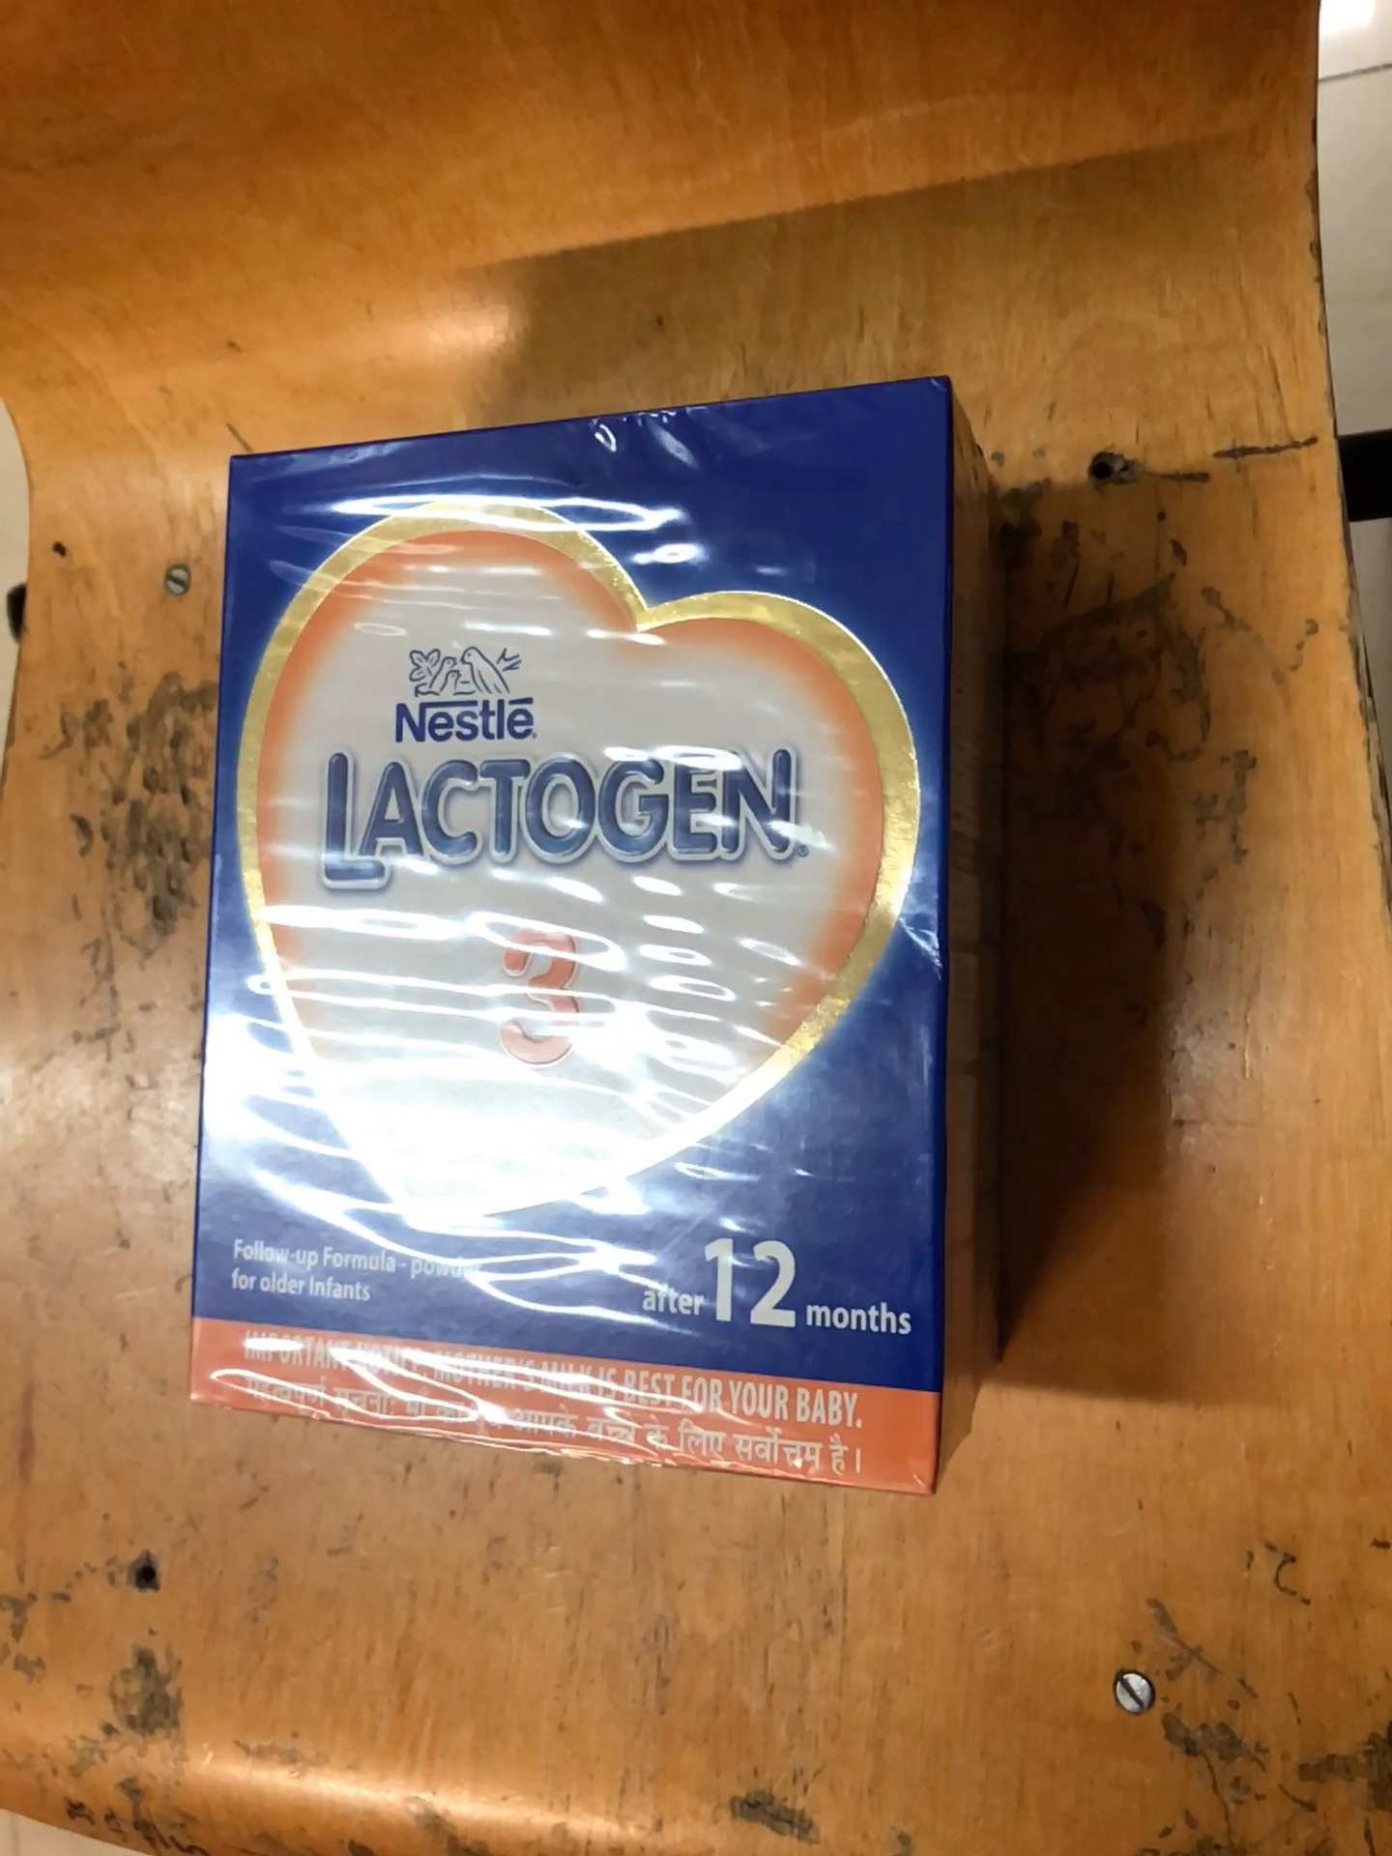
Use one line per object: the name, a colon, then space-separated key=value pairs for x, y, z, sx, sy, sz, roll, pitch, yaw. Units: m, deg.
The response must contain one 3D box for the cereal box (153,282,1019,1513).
cereal box: x=-0.019 y=-0.006 z=0.303 sx=0.150 sy=0.060 sz=0.200 roll=1 pitch=86 yaw=19
